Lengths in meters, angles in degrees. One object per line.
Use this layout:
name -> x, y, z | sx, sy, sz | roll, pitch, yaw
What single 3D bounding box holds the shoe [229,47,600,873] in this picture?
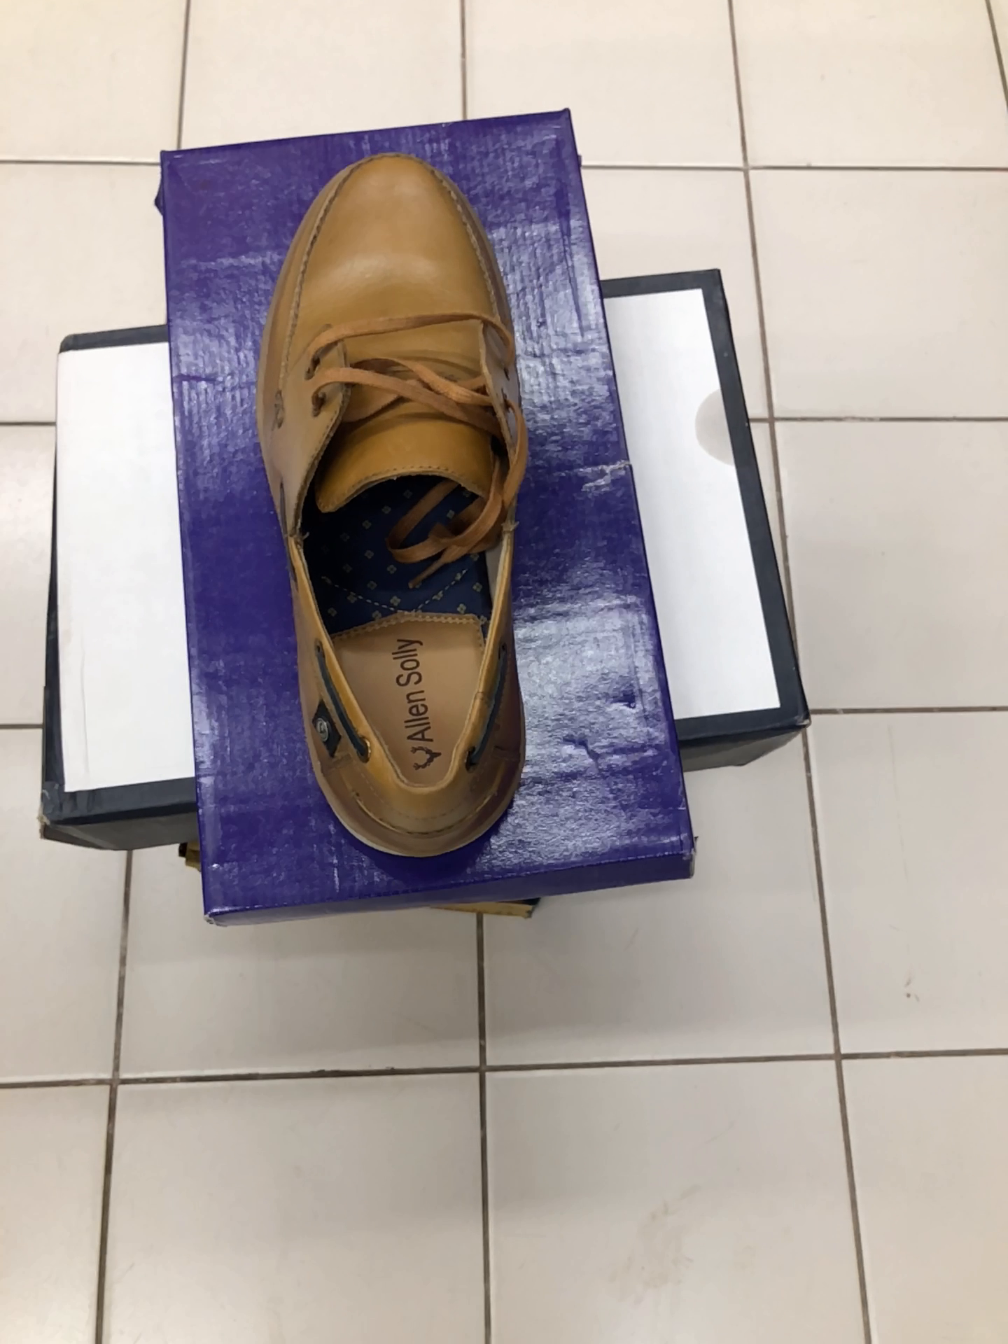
shoe -> -0.035, -0.069, 0.392 | 0.100, 0.110, 0.261 | -3, 75, -4
